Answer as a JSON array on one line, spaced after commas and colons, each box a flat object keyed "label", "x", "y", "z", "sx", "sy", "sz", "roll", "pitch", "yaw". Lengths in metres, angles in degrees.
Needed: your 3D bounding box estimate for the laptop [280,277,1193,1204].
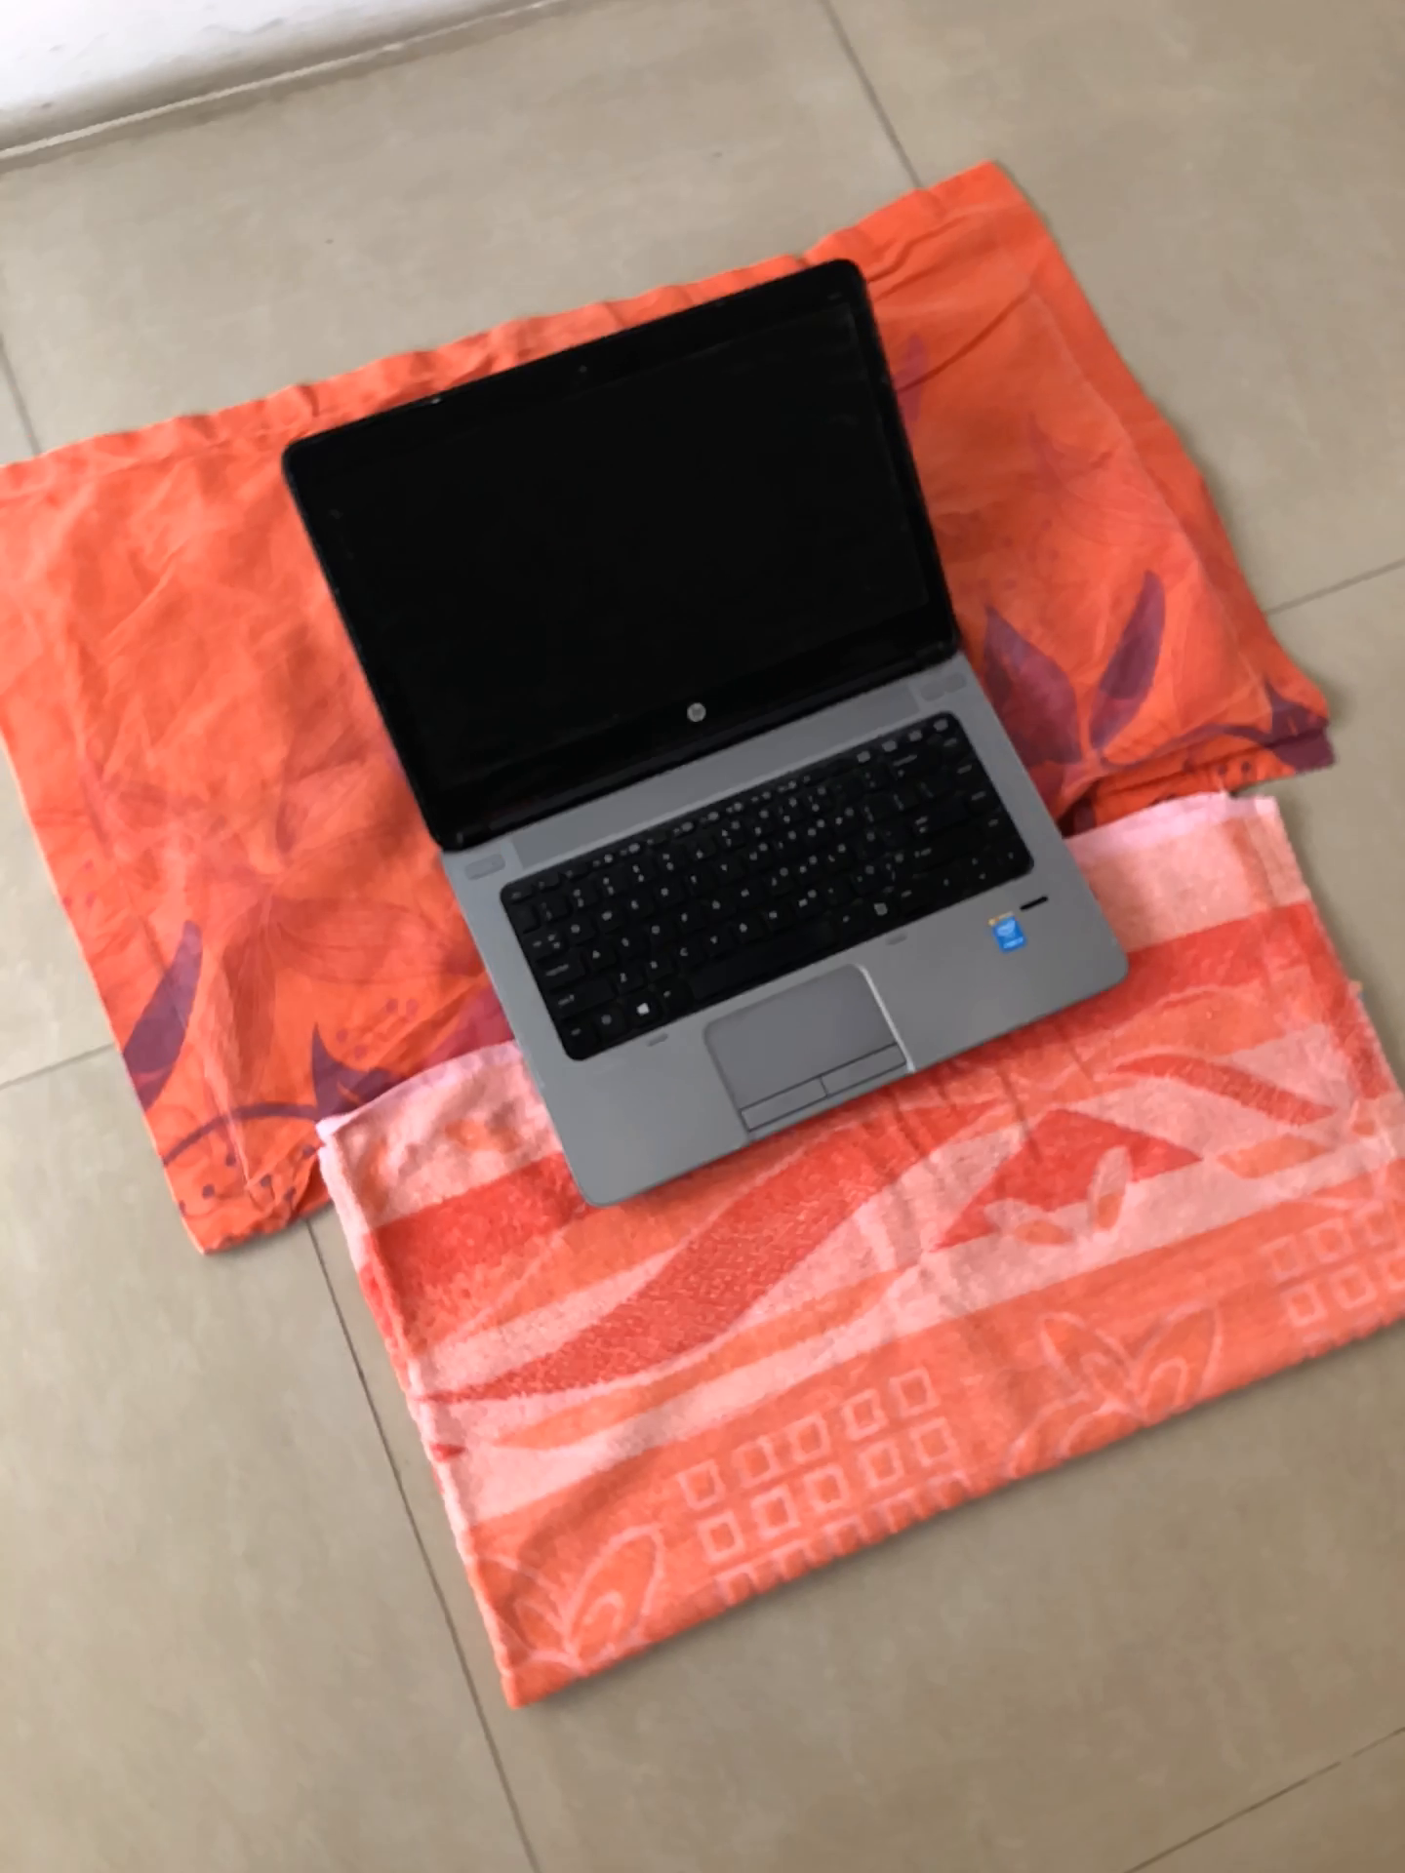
[{"label": "laptop", "x": 0.008, "y": -0.114, "z": 0.845, "sx": 0.328, "sy": 0.111, "sz": 0.410, "roll": -22, "pitch": 76, "yaw": -10}]
